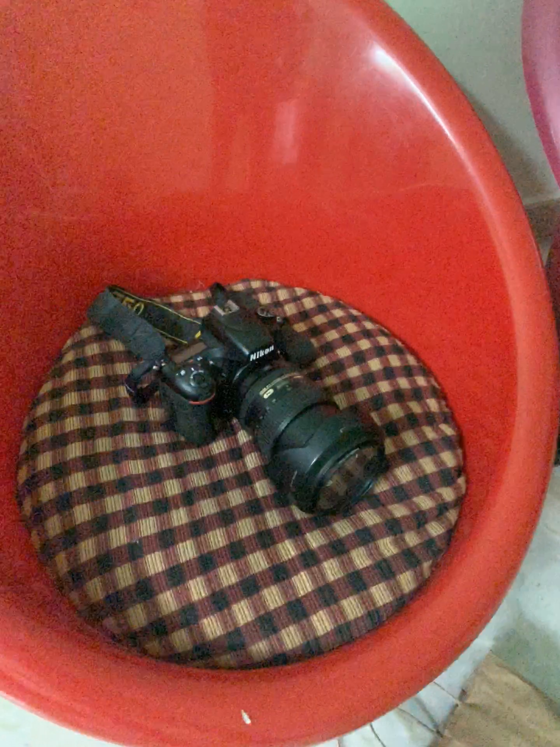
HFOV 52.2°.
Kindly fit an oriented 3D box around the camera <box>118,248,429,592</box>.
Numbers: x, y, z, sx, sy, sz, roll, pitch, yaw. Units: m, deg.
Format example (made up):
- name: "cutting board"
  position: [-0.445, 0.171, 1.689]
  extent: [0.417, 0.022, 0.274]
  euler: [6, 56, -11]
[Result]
- name: "camera"
  position: [-0.020, 0.038, 0.580]
  extent: [0.160, 0.179, 0.253]
  euler: [-28, 57, -26]
